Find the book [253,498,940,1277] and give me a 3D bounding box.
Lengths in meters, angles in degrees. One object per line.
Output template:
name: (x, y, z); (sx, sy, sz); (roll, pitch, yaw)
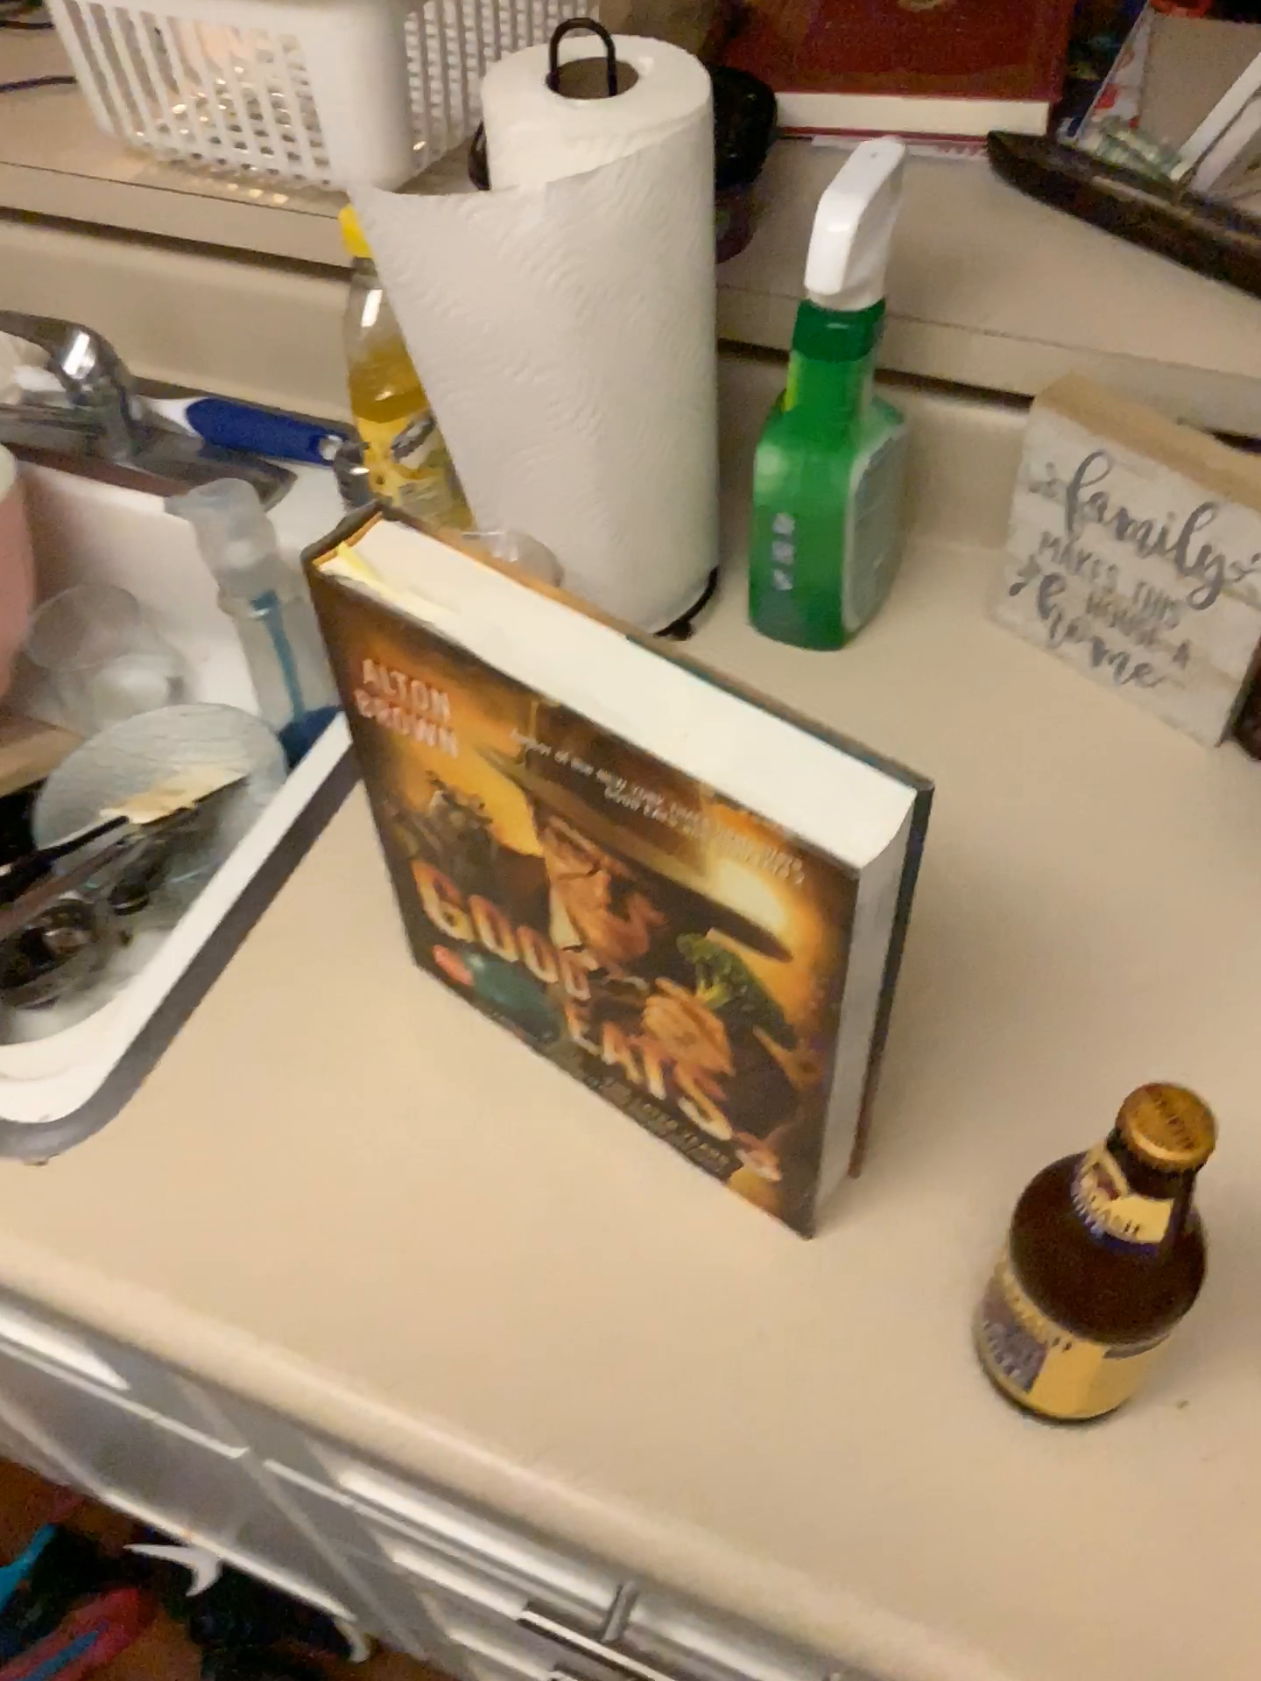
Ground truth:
book: (-0.015, 0.027, 0.539); (0.240, 0.250, 0.050); (30, 57, 25)
